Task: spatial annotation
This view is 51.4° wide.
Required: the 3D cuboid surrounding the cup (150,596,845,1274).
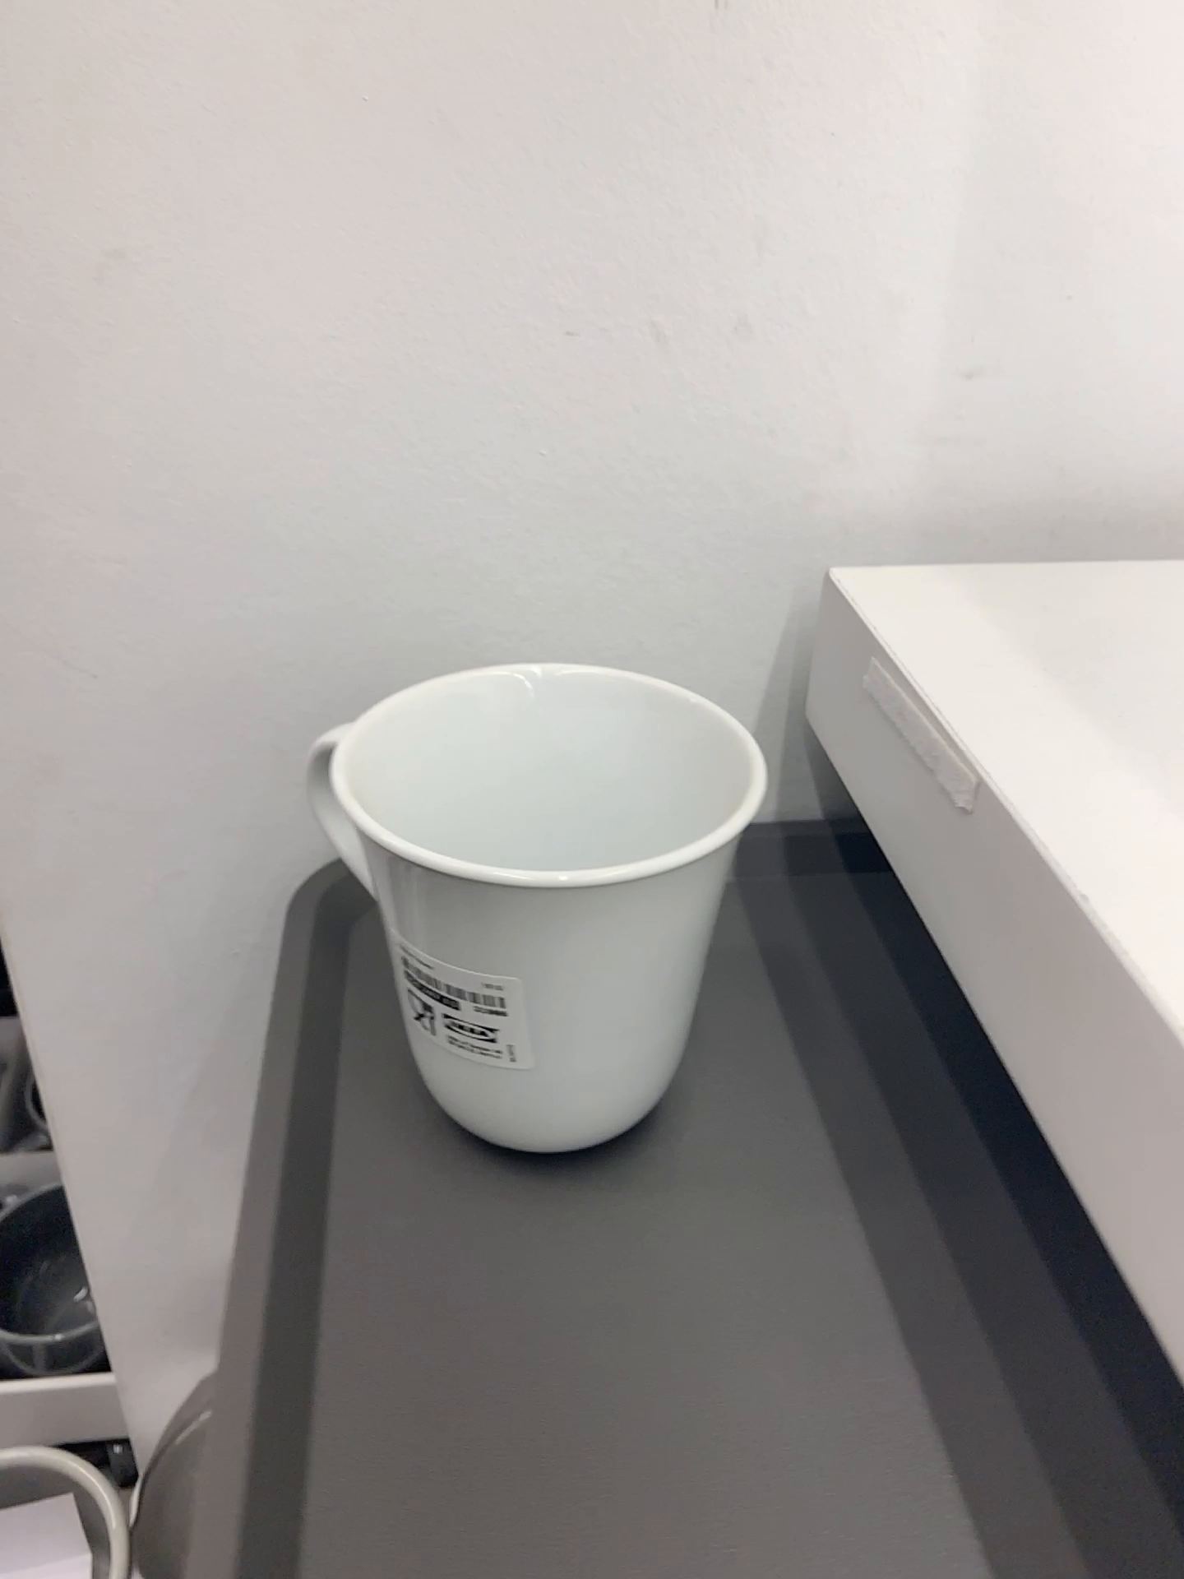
[{"bbox_3d":[-0.020,0.026,0.315,0.130,0.100,0.100,17,33,23],"label":"cup"}]
